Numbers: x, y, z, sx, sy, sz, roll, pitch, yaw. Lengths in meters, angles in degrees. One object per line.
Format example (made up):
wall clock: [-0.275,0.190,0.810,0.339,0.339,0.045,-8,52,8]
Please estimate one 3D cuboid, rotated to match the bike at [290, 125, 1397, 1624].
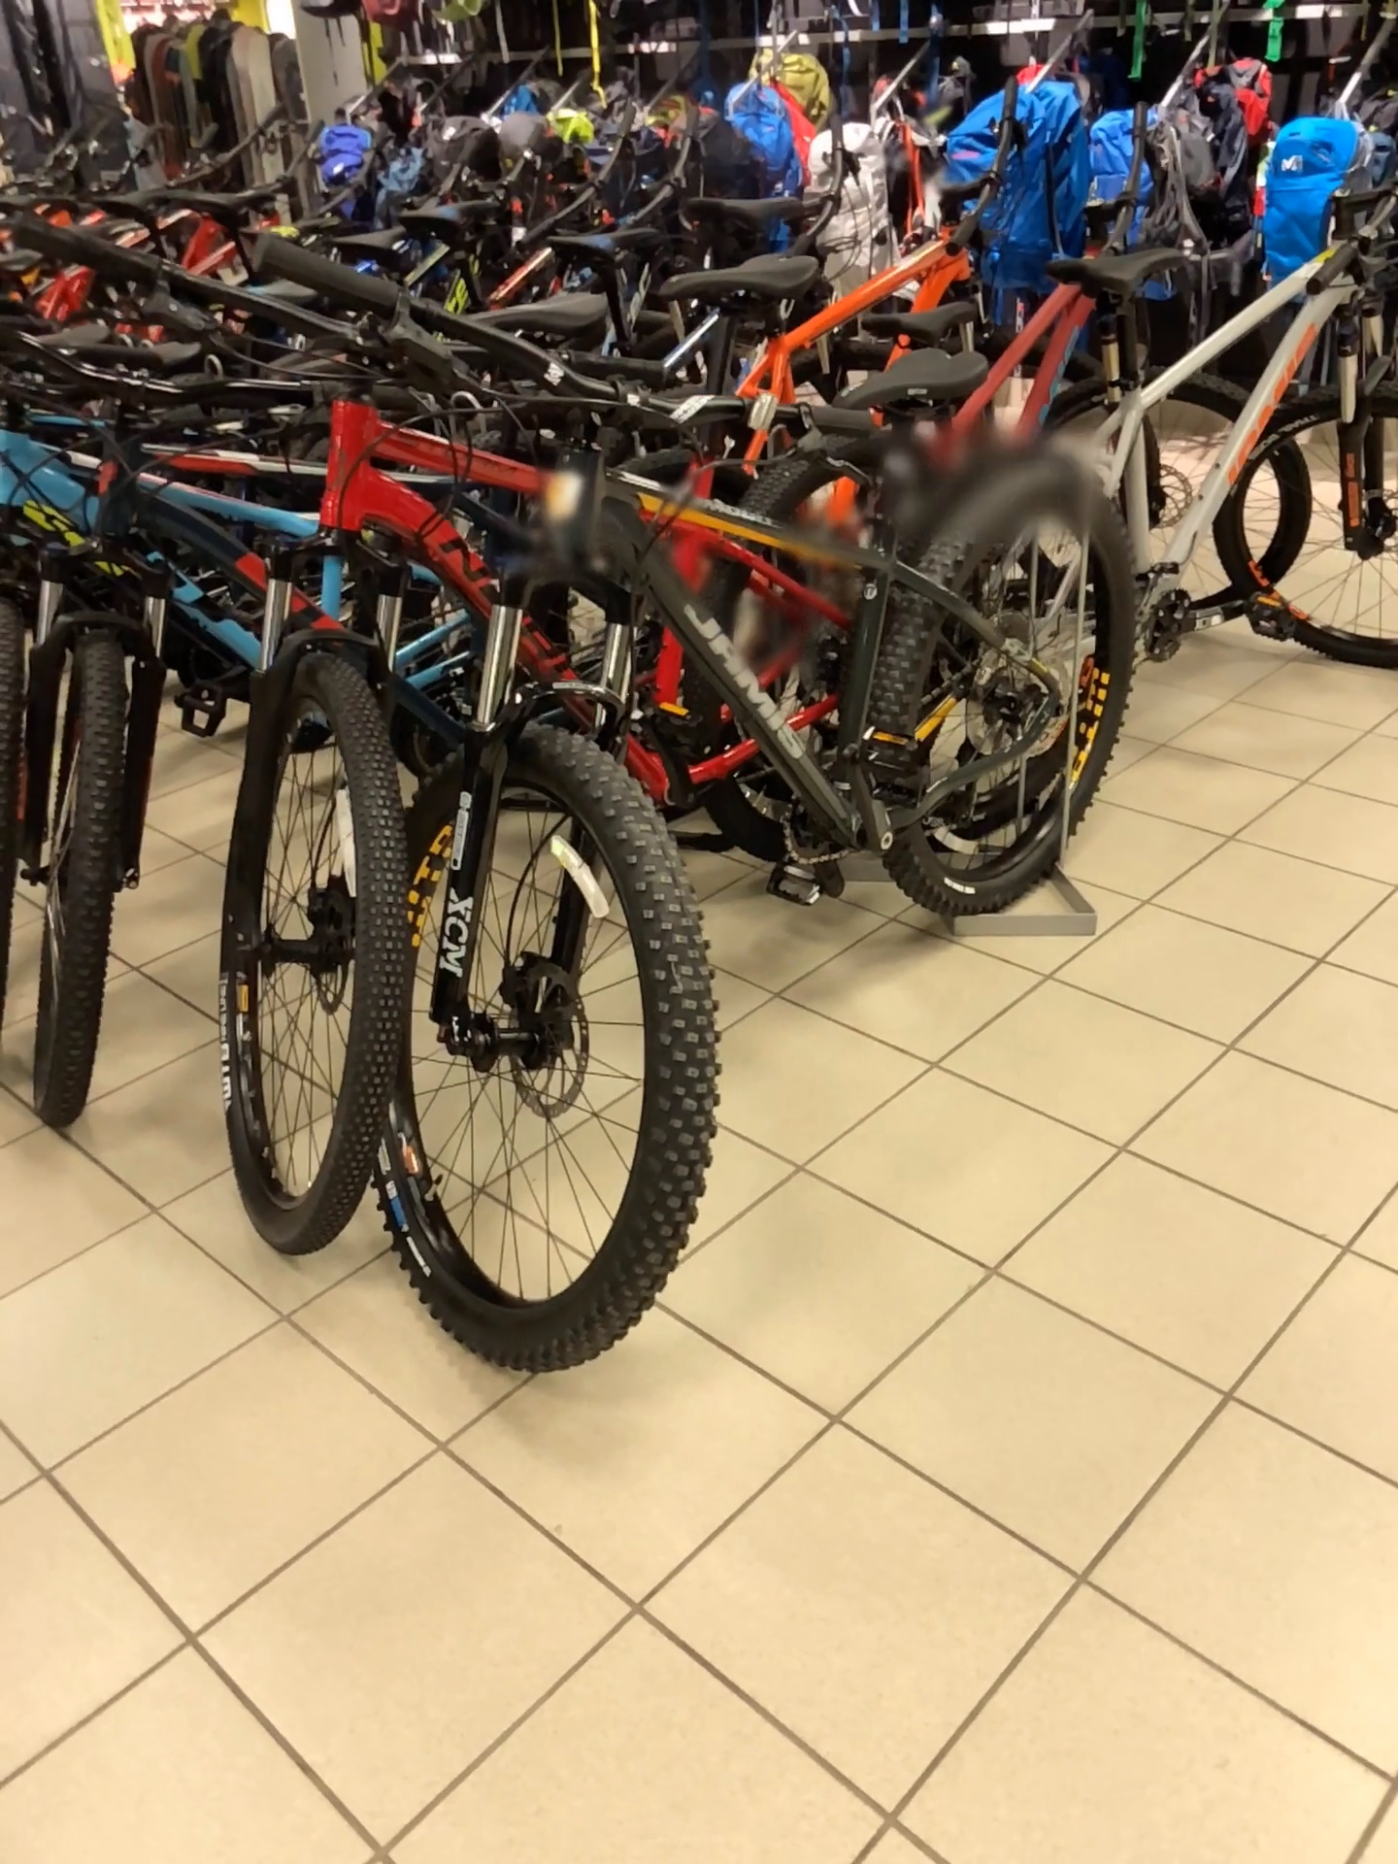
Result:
bike: [0.343,-0.319,2.023,0.808,1.166,1.549,14,35,29]
